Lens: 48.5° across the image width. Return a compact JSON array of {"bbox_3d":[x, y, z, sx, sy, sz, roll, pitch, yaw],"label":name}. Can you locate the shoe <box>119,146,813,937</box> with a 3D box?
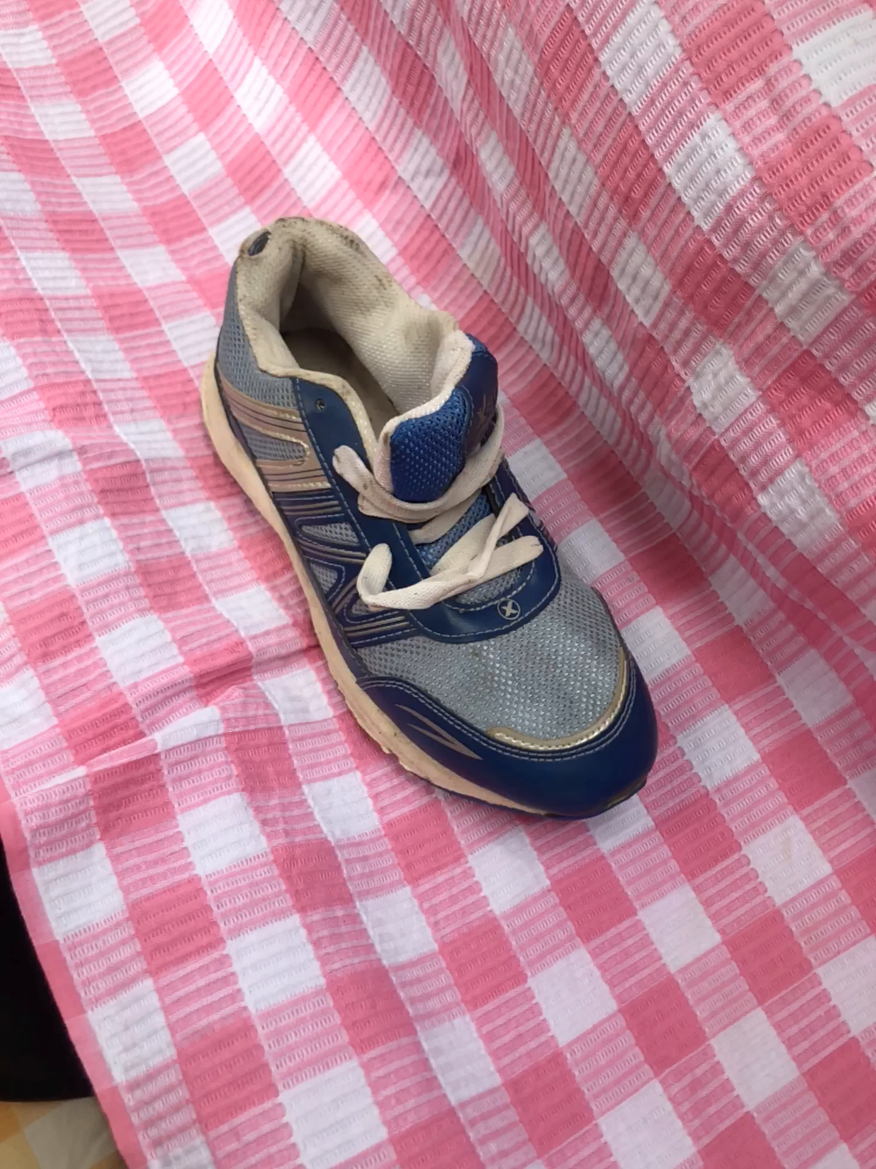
[{"bbox_3d":[-0.011,-0.031,0.374,0.110,0.099,0.280,-23,66,-28],"label":"shoe"}]
